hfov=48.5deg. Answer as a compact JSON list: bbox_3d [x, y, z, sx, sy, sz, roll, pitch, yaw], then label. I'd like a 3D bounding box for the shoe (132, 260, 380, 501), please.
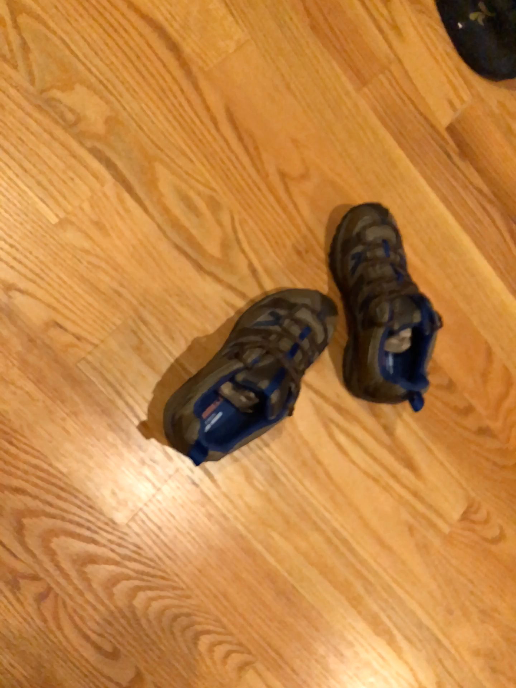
[{"bbox_3d":[-0.002,0.033,0.603,0.240,0.106,0.094,-44,101,-19],"label":"shoe"}]

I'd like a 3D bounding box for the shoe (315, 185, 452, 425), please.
[{"bbox_3d":[0.139,-0.040,0.656,0.097,0.094,0.251,-2,86,-22],"label":"shoe"}]
